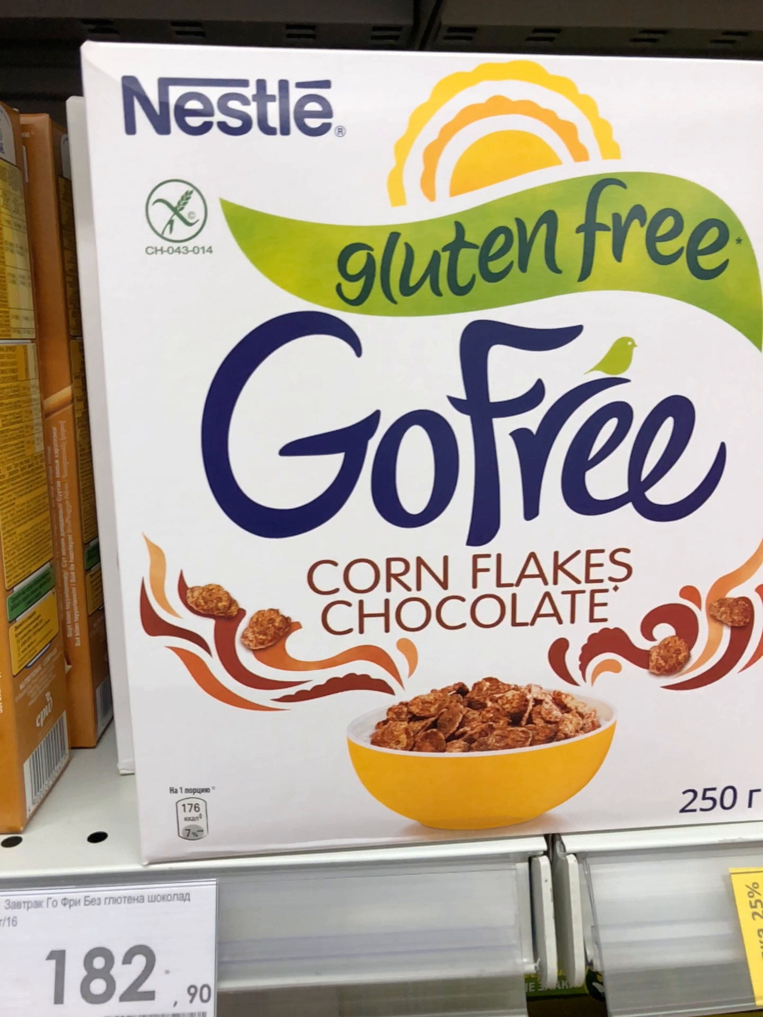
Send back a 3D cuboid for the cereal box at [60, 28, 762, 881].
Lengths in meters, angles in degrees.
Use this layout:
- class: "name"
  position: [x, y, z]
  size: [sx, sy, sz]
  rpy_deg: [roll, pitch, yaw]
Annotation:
- class: "cereal box"
  position: [0.024, -0.010, 0.247]
  size: [0.200, 0.219, 0.050]
  rpy_deg: [-1, 11, -4]
